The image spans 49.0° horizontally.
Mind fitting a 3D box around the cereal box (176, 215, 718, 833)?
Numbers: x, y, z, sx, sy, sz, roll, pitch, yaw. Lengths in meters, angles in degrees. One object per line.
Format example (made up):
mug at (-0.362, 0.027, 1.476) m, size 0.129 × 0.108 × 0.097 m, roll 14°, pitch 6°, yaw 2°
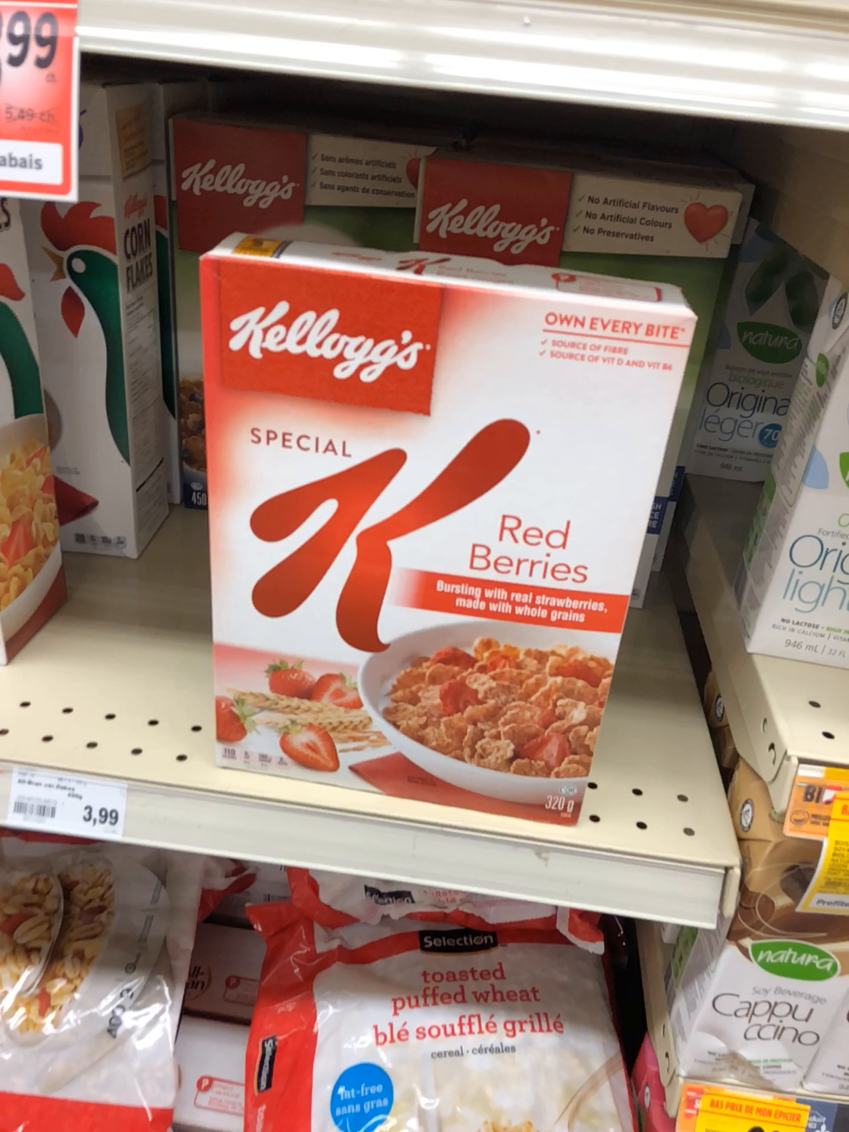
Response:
cereal box at (-0.001, -0.008, 0.455) m, size 0.210 × 0.278 × 0.060 m, roll 8°, pitch 31°, yaw 4°
